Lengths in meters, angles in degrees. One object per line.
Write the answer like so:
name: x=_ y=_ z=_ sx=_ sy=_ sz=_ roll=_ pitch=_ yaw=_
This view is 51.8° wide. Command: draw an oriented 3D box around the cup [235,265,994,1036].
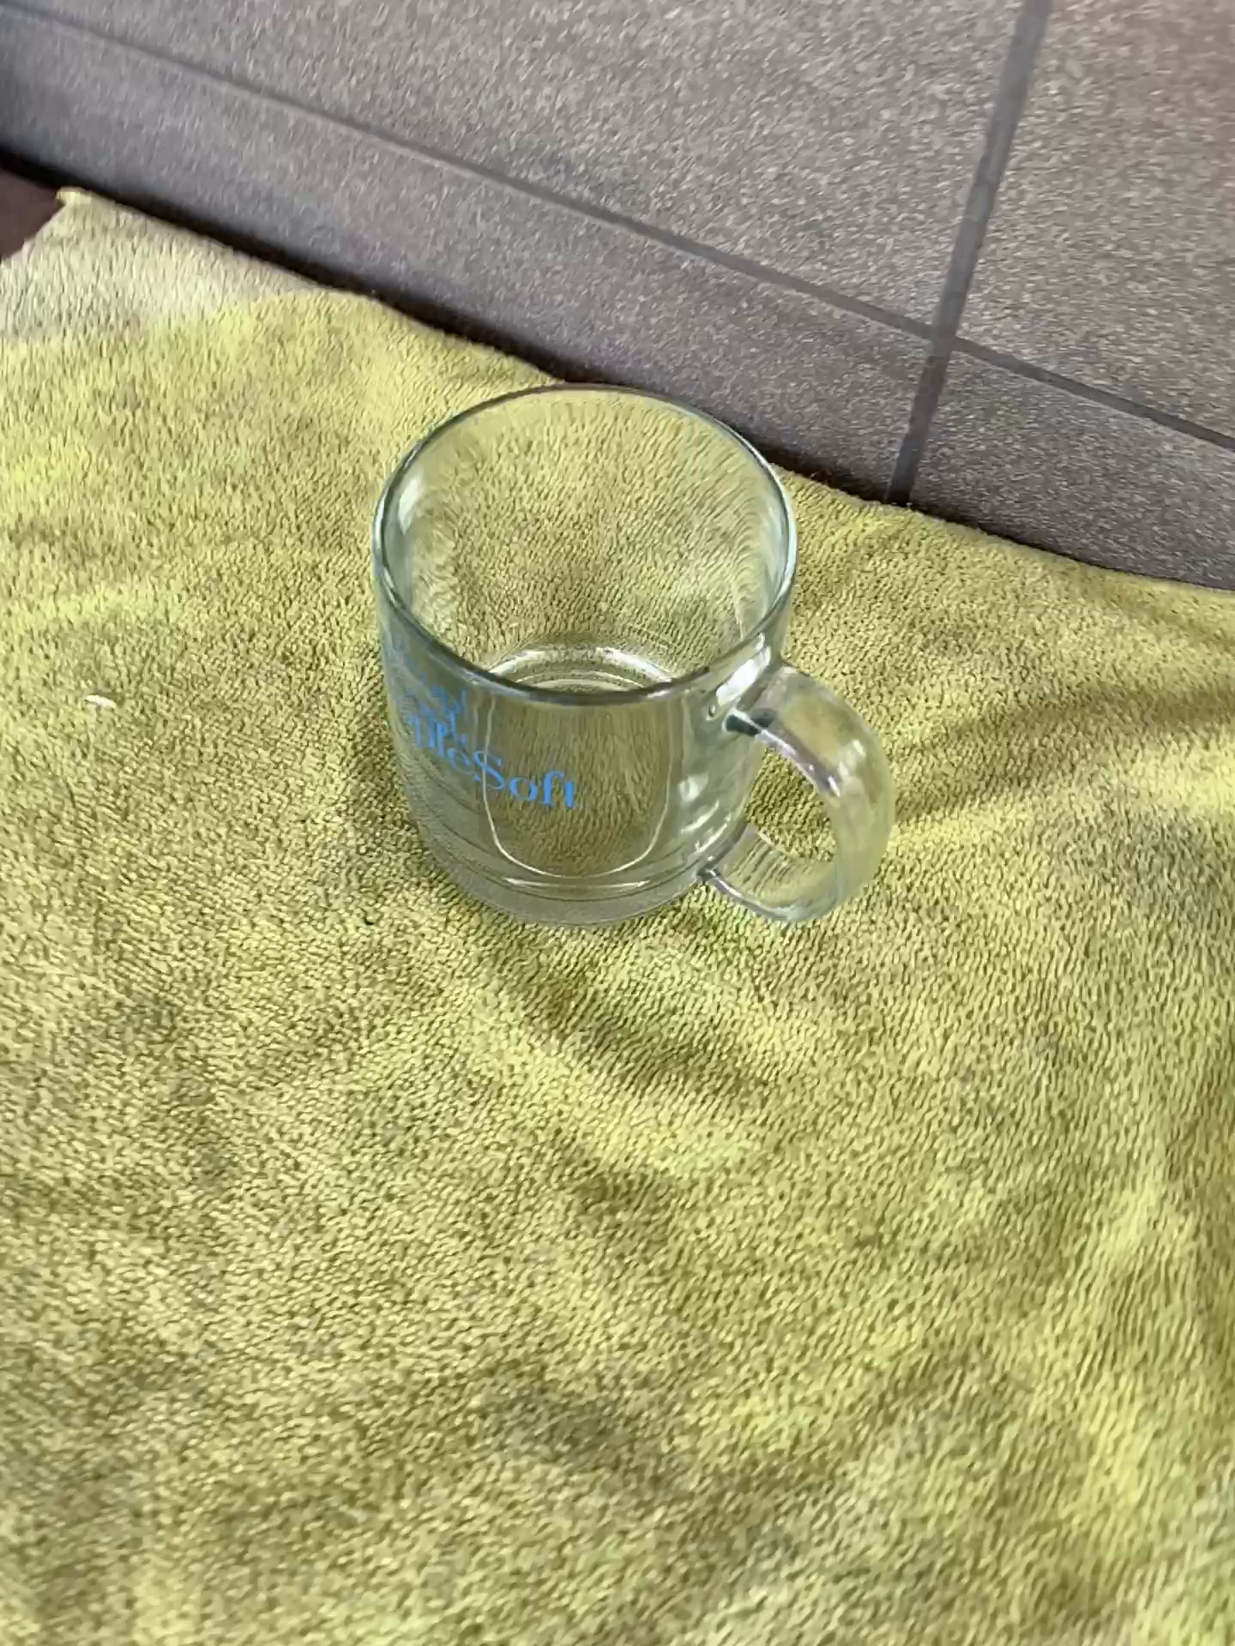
cup: x=-0.003 y=-0.037 z=0.282 sx=0.120 sy=0.100 sz=0.080 roll=34 pitch=62 yaw=18
